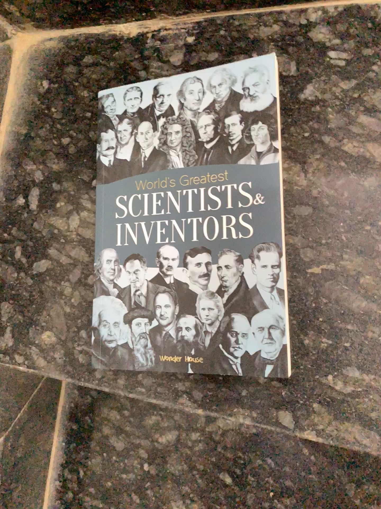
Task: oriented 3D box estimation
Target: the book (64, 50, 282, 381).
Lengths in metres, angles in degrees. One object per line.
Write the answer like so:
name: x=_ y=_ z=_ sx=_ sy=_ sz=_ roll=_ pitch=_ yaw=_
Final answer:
book: x=-0.015 y=-0.024 z=0.264 sx=0.140 sy=0.020 sz=0.200 roll=-3 pitch=81 yaw=18
